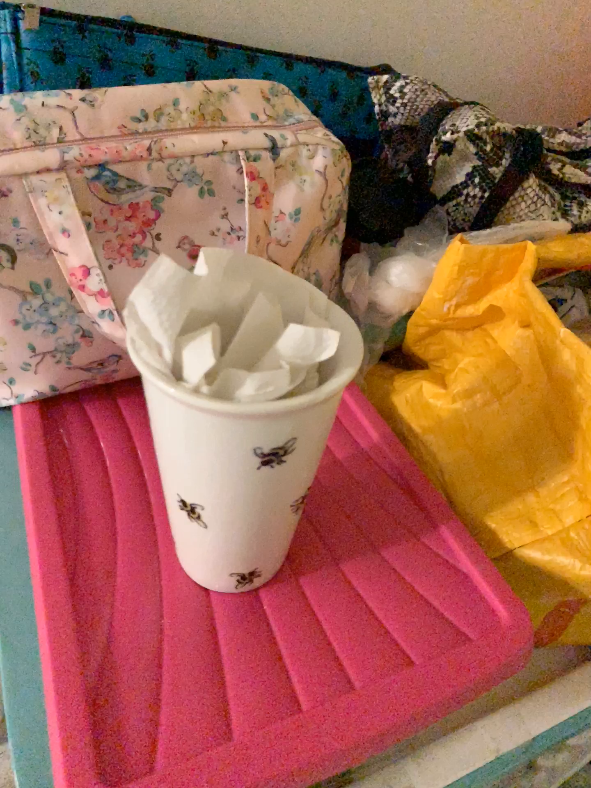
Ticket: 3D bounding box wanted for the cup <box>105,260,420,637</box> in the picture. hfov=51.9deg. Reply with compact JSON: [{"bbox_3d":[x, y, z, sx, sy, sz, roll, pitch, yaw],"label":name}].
[{"bbox_3d":[-0.023,0.019,0.272,0.090,0.112,0.099,5,38,-4],"label":"cup"}]
